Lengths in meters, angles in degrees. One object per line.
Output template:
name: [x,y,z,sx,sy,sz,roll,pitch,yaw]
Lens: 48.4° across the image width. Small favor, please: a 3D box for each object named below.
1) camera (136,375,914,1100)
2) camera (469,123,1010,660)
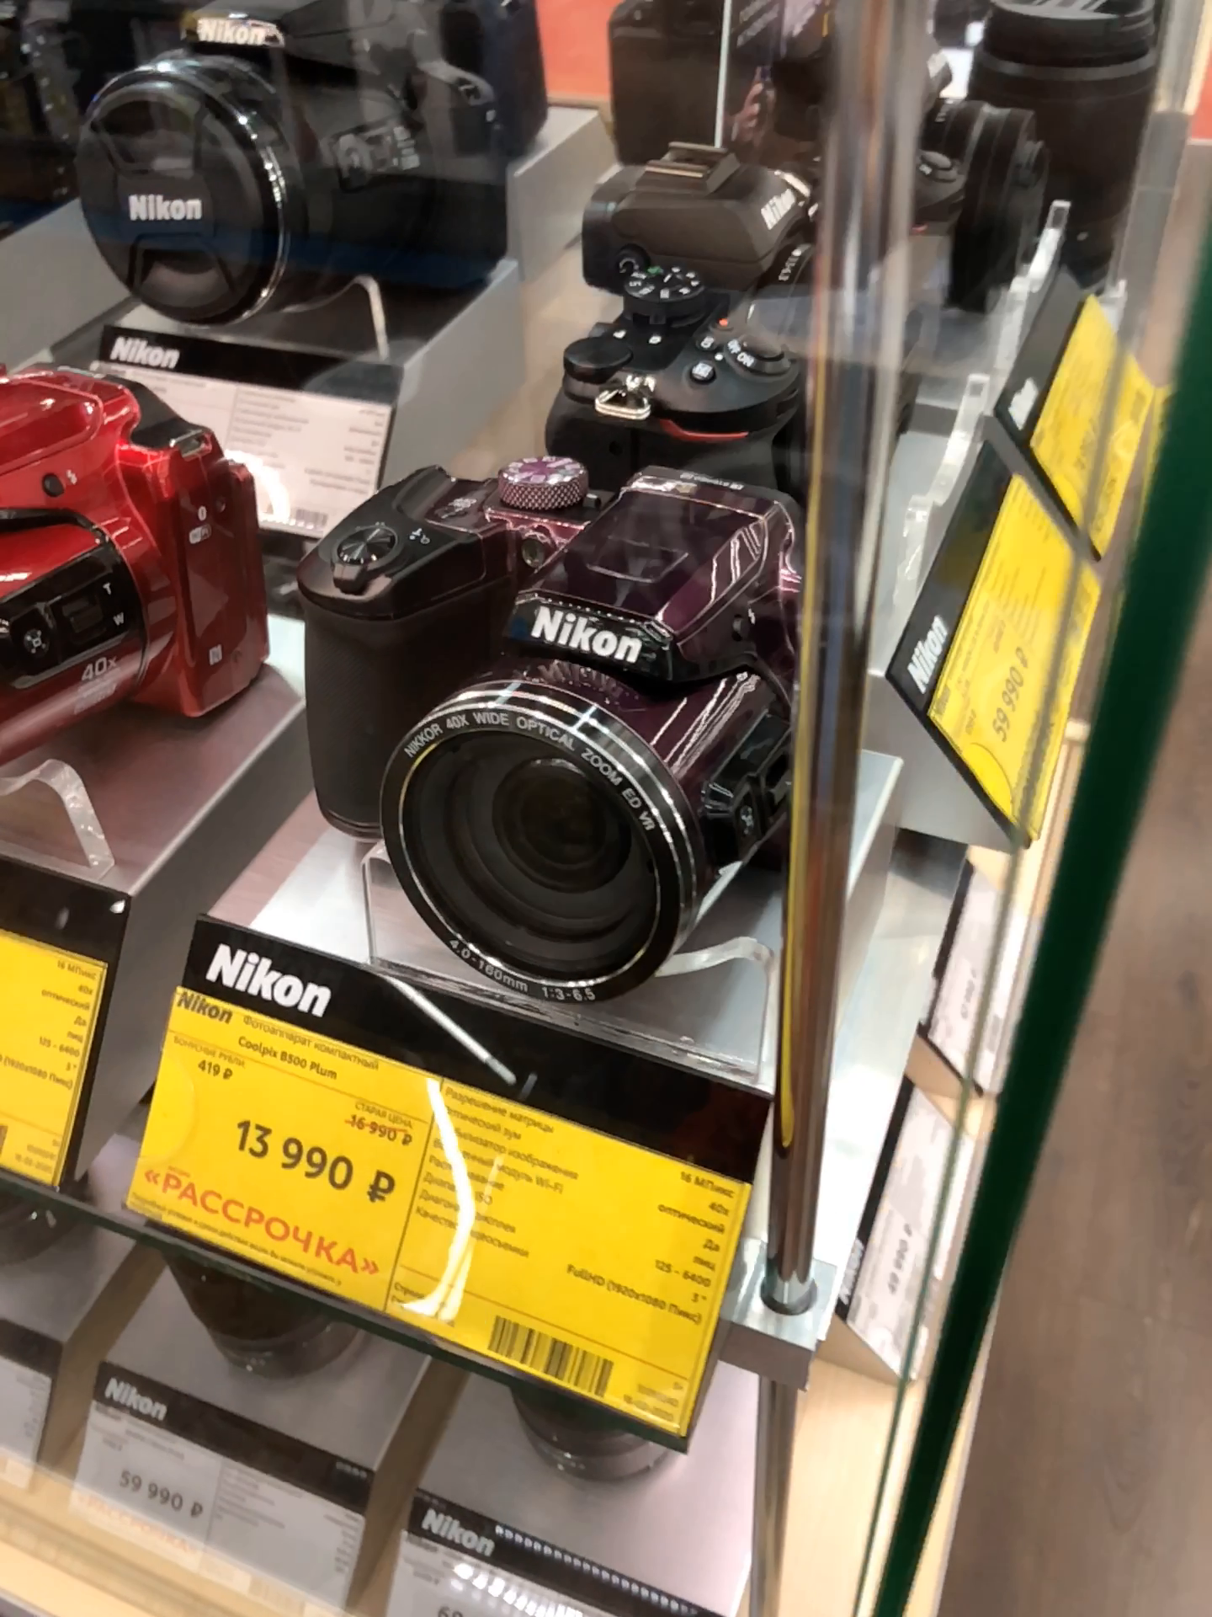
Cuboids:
camera: [-0.009,-0.021,0.274,0.109,0.080,0.100,16,46,19]
camera: [0.042,-0.124,0.381,0.100,0.084,0.134,16,46,19]
